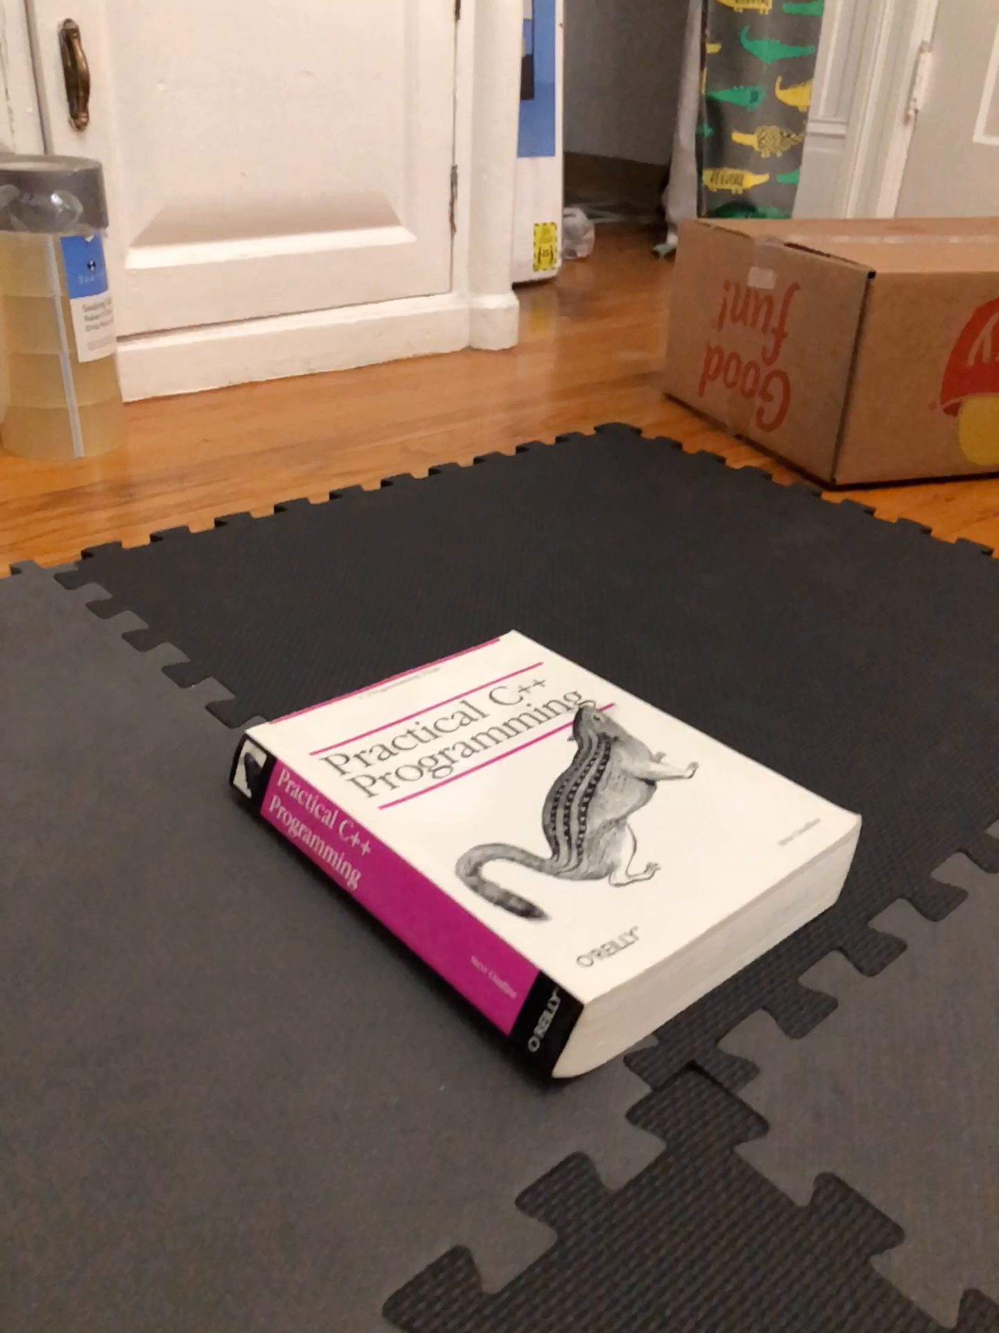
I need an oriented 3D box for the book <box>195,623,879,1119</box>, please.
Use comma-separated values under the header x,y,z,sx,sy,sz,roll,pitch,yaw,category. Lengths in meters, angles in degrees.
x,y,z,sx,sy,sz,roll,pitch,yaw,category
0.010,0.066,0.517,0.201,0.050,0.251,-15,34,-41,book
